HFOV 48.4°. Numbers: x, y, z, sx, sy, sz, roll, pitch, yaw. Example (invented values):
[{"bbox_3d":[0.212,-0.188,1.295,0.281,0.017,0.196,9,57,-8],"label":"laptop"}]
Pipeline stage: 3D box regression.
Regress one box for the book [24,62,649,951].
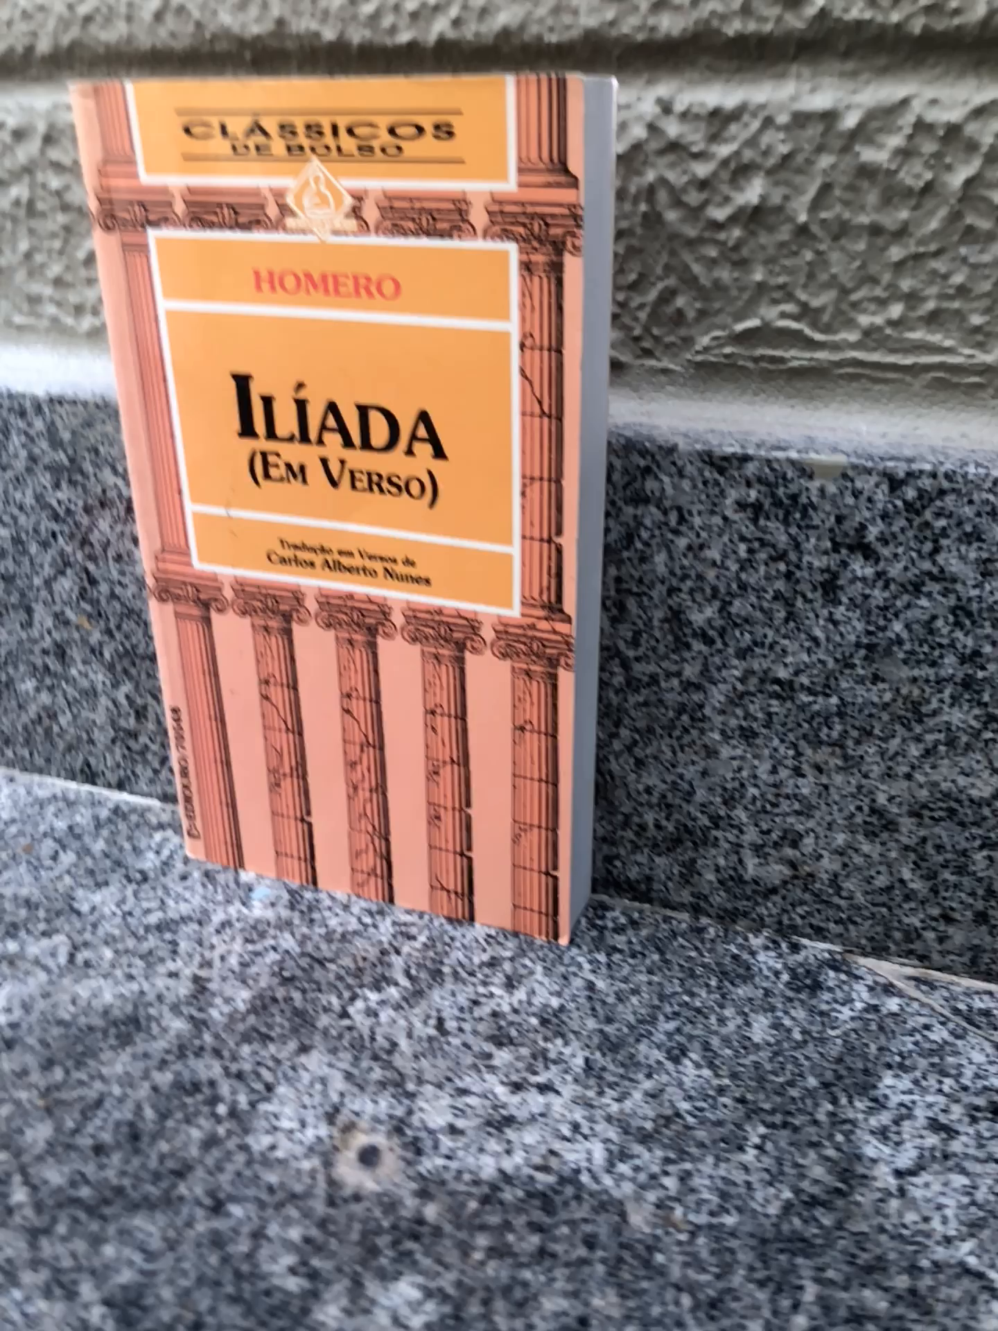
[{"bbox_3d":[-0.037,-0.034,0.295,0.139,0.218,0.030,9,28,18],"label":"book"}]
